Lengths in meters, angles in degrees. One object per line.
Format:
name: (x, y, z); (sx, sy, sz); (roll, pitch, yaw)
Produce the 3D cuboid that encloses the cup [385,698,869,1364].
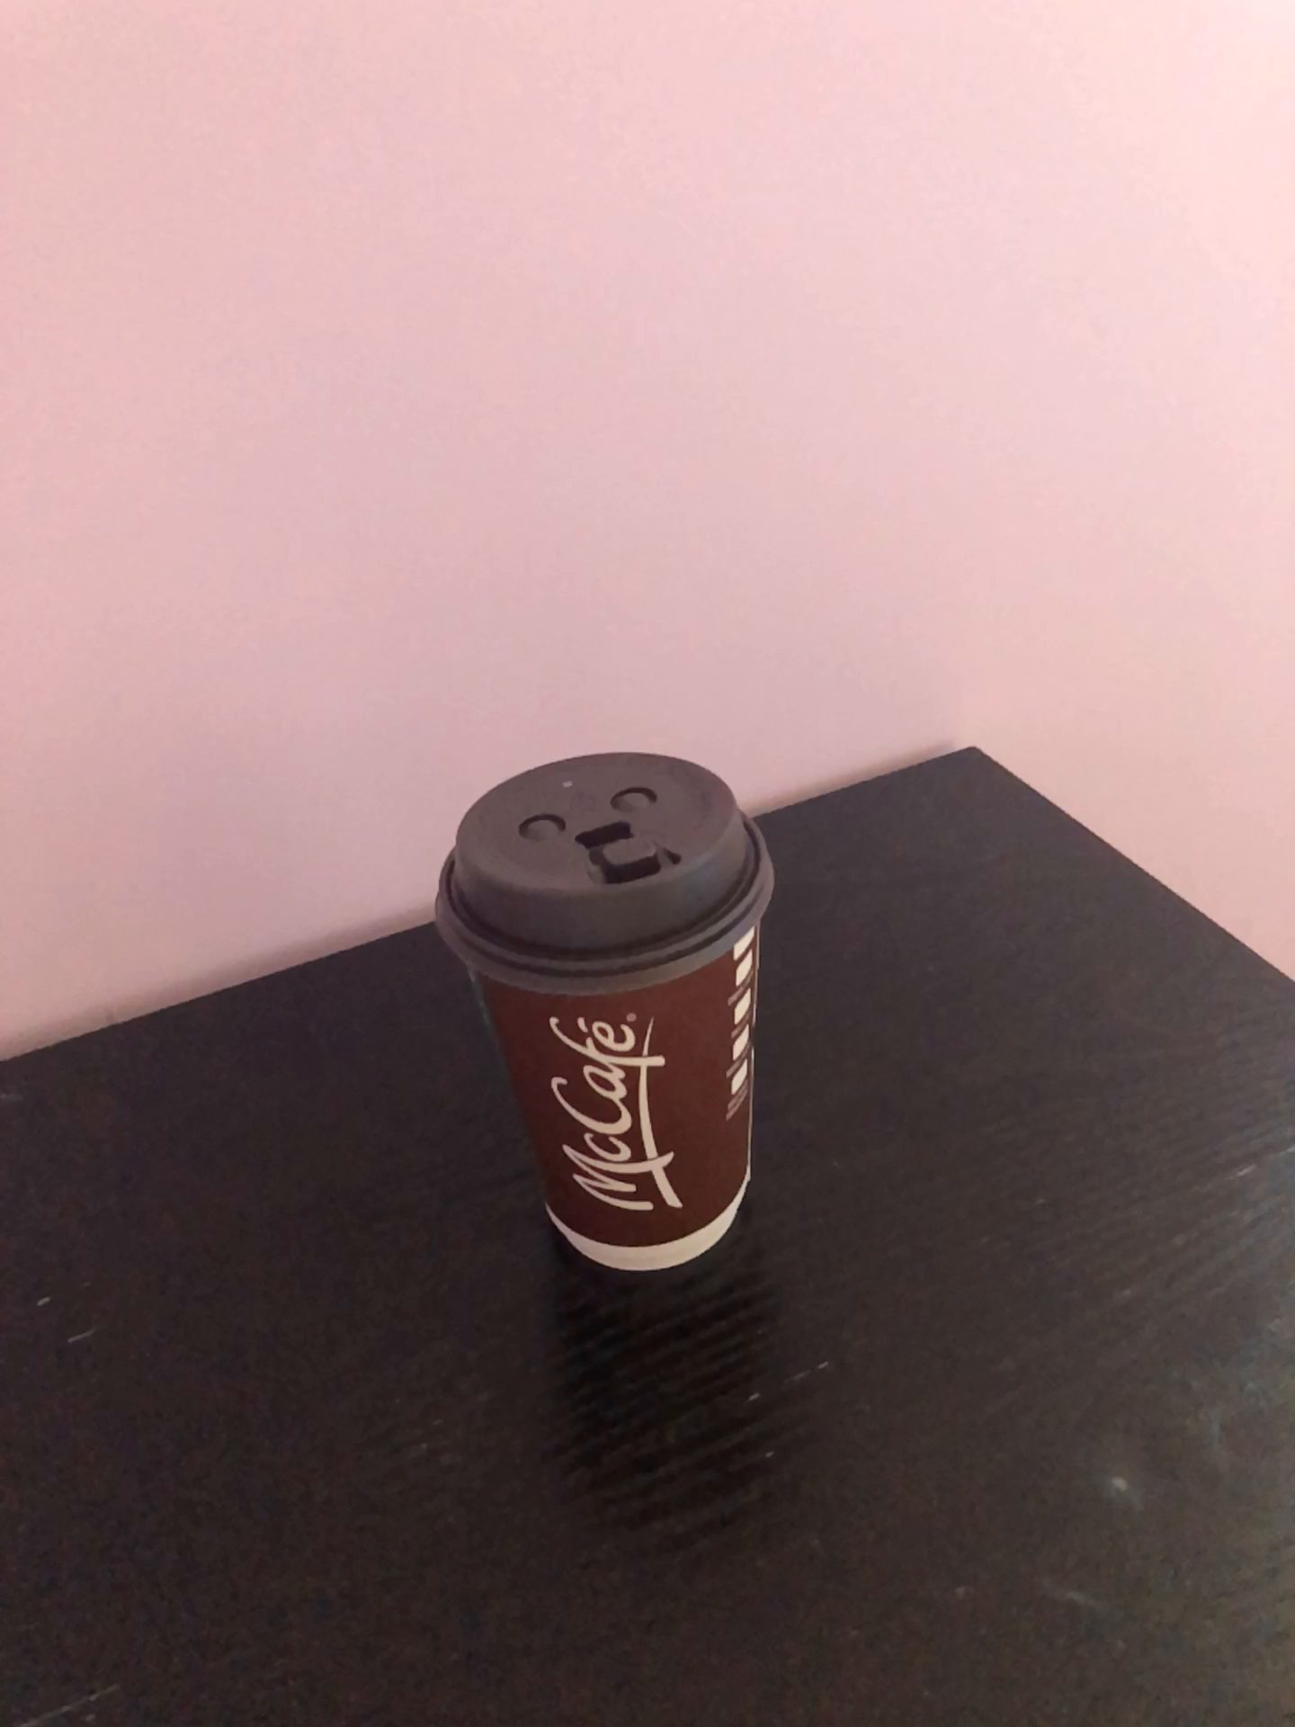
cup: (-0.001, 0.045, 0.409); (0.090, 0.139, 0.090); (-4, 34, 3)
